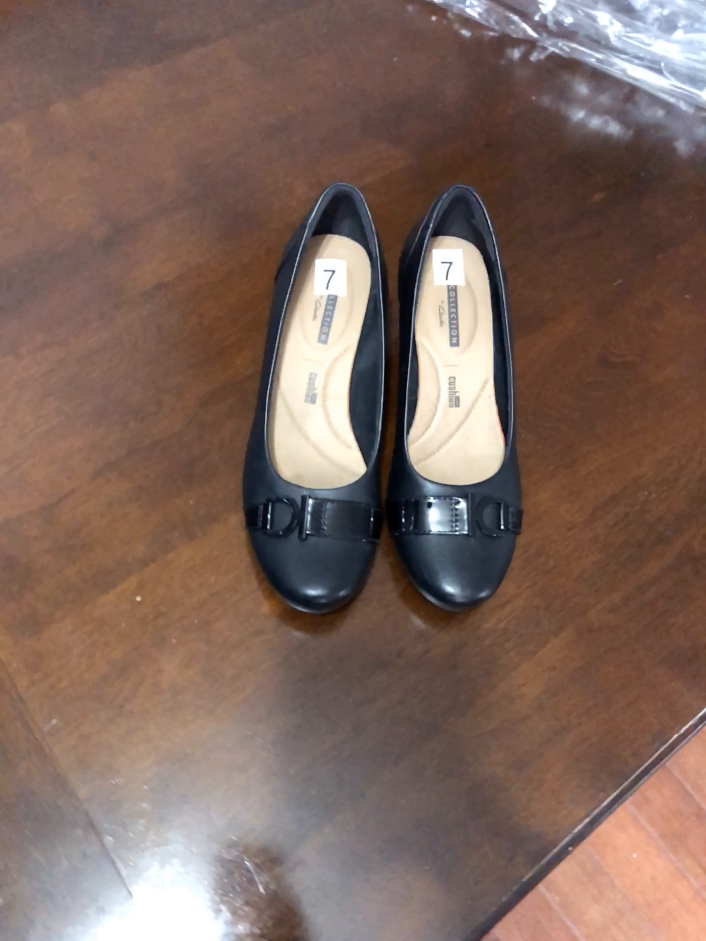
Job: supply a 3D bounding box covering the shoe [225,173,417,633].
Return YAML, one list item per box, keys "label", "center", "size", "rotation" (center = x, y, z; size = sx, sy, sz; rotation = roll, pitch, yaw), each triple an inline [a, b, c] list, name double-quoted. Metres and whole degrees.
- label: "shoe"
  center: [-0.020, -0.041, 0.471]
  size: [0.090, 0.110, 0.250]
  rotation: [2, 64, -5]

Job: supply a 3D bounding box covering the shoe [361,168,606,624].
- label: "shoe"
  center: [0.063, -0.047, 0.473]
  size: [0.090, 0.110, 0.250]
  rotation: [-1, 64, -6]
